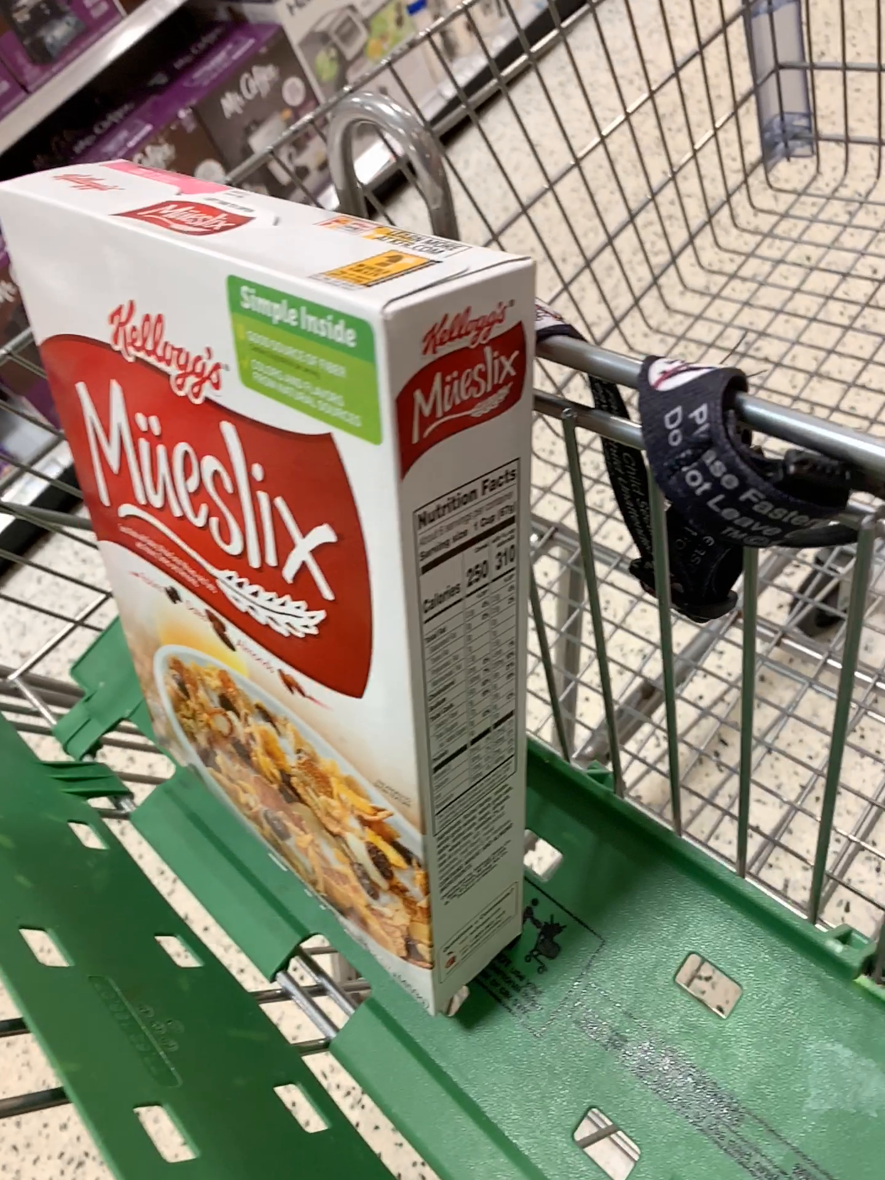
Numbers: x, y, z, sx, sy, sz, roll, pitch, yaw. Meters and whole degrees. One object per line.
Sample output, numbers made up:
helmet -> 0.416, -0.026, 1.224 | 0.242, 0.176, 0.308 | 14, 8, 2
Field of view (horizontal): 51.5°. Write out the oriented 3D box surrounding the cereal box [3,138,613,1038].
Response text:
cereal box -> -0.047, -0.001, 0.331 | 0.060, 0.268, 0.201 | -30, 44, -33
